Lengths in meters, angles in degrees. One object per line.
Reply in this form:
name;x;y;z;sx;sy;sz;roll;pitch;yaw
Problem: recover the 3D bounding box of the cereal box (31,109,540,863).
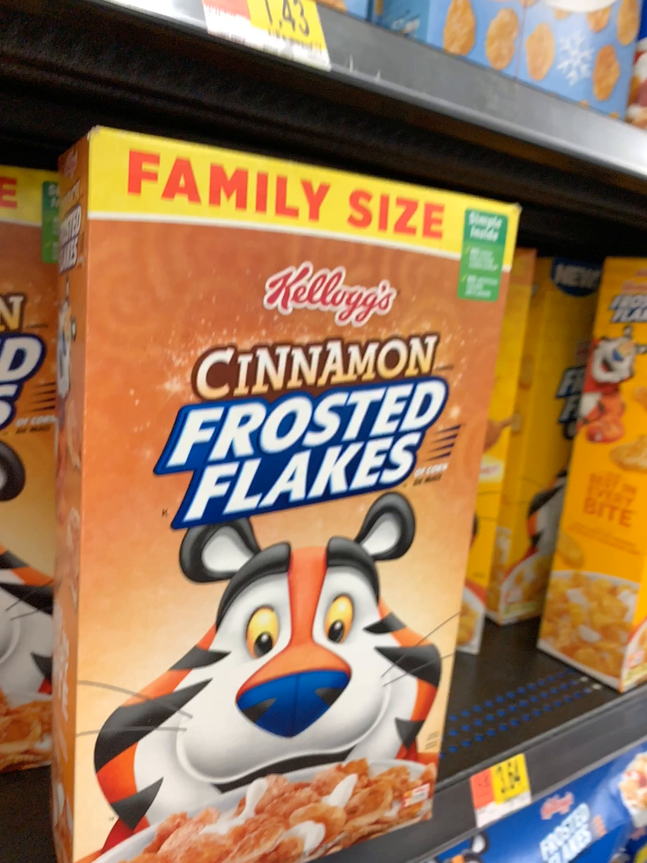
cereal box;-0.023;0.052;0.331;0.210;0.339;0.070;-1;13;-29
